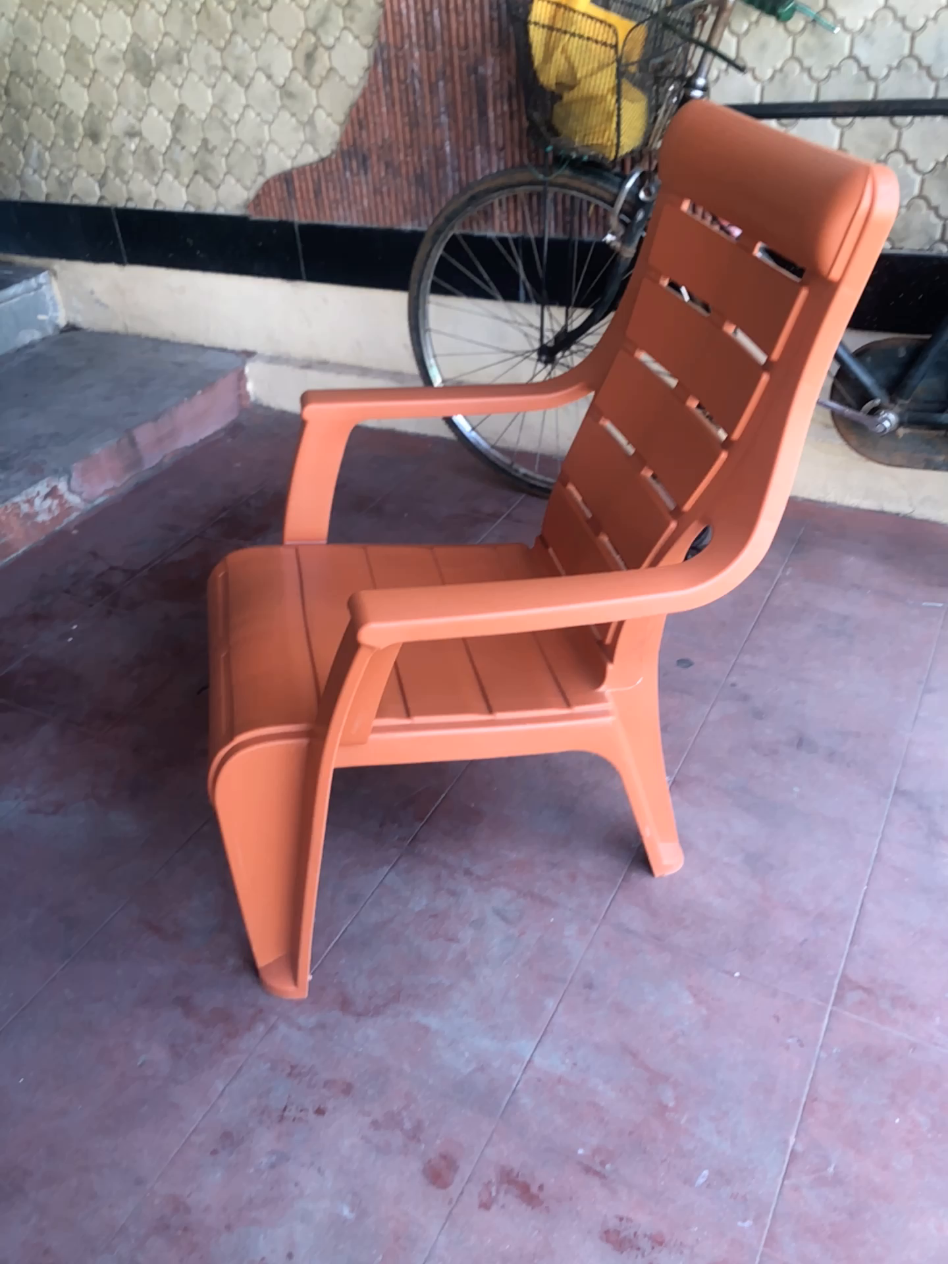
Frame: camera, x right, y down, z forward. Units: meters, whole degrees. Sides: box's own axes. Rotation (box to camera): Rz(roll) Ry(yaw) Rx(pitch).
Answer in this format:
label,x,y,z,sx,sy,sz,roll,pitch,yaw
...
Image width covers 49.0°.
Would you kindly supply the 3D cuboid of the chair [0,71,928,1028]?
label,x,y,z,sx,sy,sz,roll,pitch,yaw
chair,-0.064,-0.150,1.247,0.761,0.786,0.693,-11,35,-7
